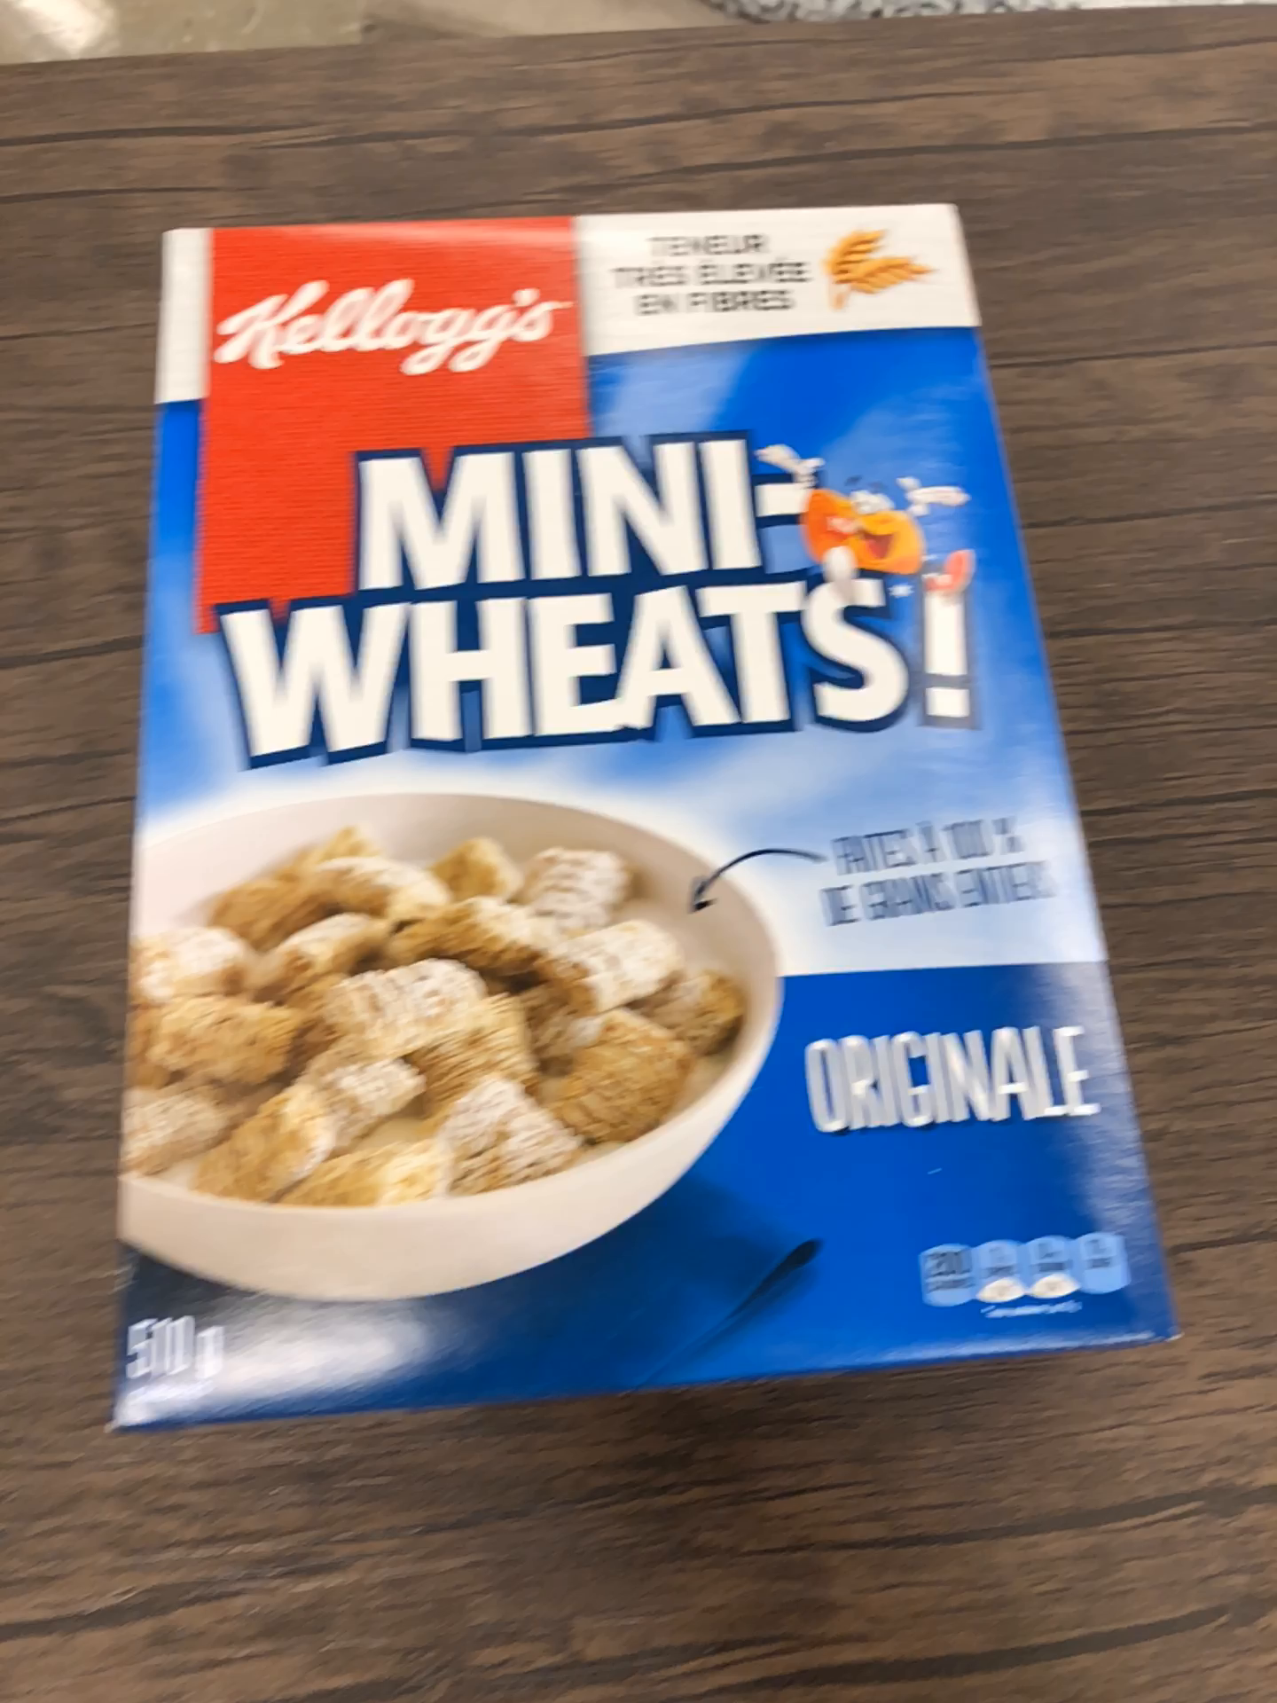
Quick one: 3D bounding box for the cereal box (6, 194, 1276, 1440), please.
[{"bbox_3d":[-0.001,-0.022,0.323,0.230,0.060,0.270,-3,68,-4],"label":"cereal box"}]
